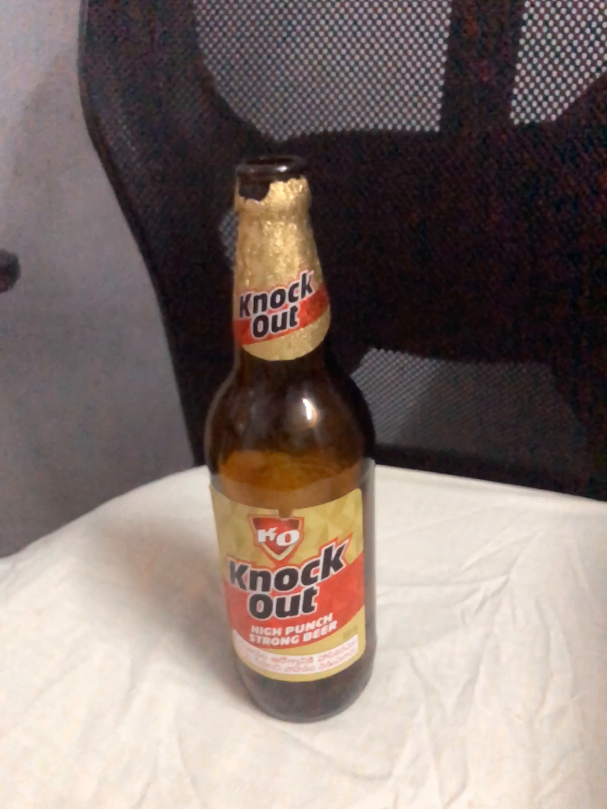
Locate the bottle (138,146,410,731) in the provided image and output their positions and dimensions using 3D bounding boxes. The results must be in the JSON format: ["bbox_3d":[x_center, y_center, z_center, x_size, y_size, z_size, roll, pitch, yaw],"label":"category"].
[{"bbox_3d":[-0.003,0.028,0.291,0.080,0.249,0.070,1,30,4],"label":"bottle"}]
